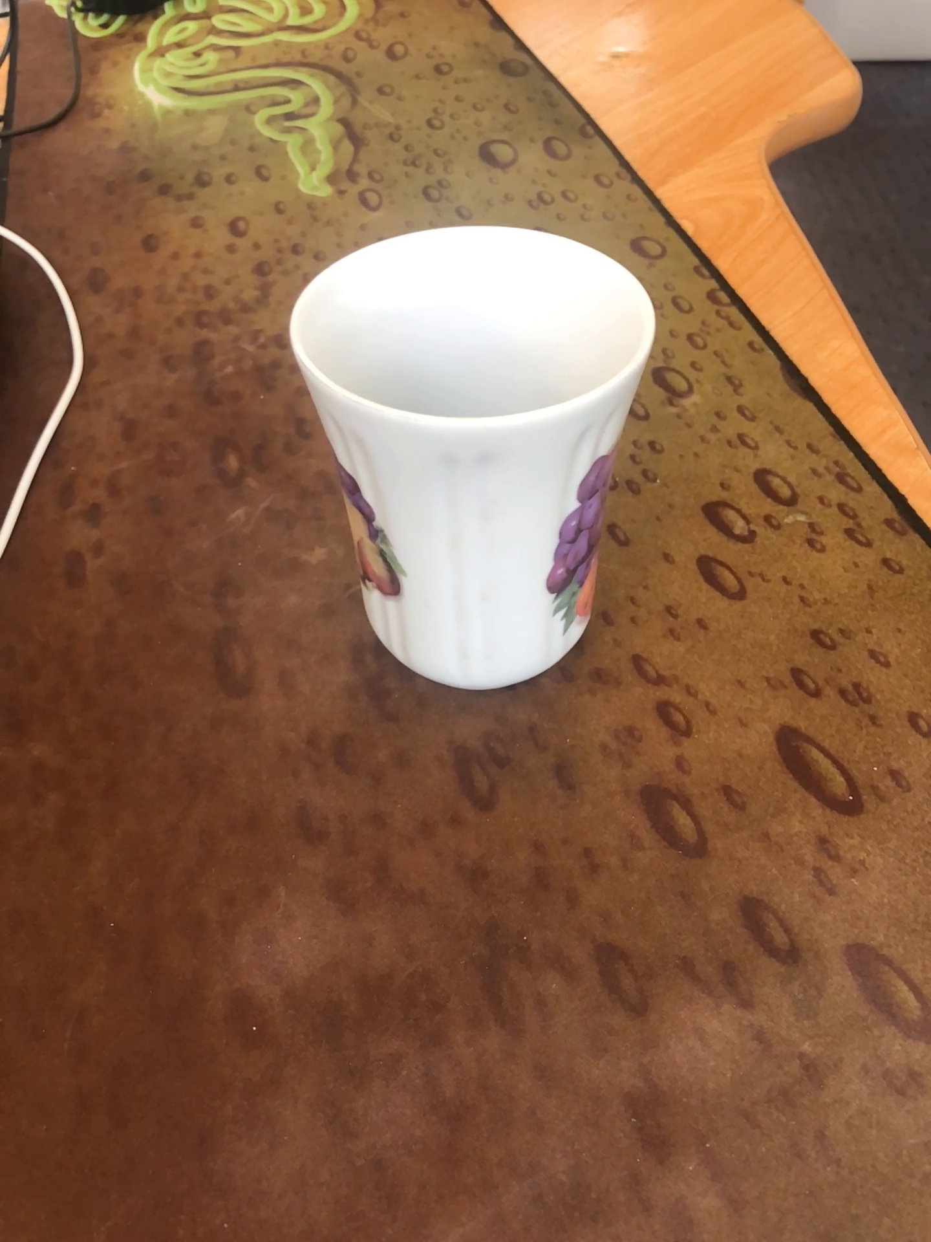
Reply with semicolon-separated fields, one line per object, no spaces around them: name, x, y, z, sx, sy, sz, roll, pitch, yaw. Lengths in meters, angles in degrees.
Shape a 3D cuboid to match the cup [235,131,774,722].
cup;0.004;-0.050;0.247;0.080;0.080;0.100;-17;49;-13
